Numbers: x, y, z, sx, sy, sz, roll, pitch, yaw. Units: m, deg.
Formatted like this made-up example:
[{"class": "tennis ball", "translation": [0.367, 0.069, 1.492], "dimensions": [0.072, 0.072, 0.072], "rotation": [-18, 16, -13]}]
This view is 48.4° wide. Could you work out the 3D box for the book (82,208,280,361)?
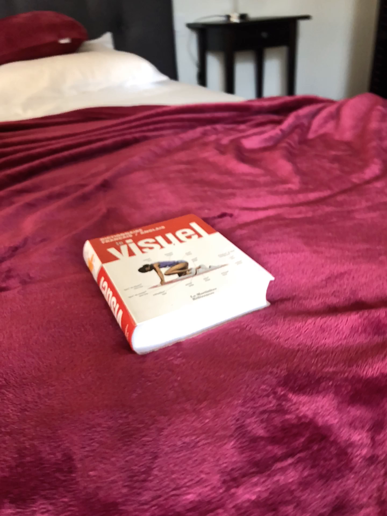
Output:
[{"class": "book", "translation": [-0.022, 0.012, 0.446], "dimensions": [0.140, 0.039, 0.181], "rotation": [-16, 32, -20]}]
